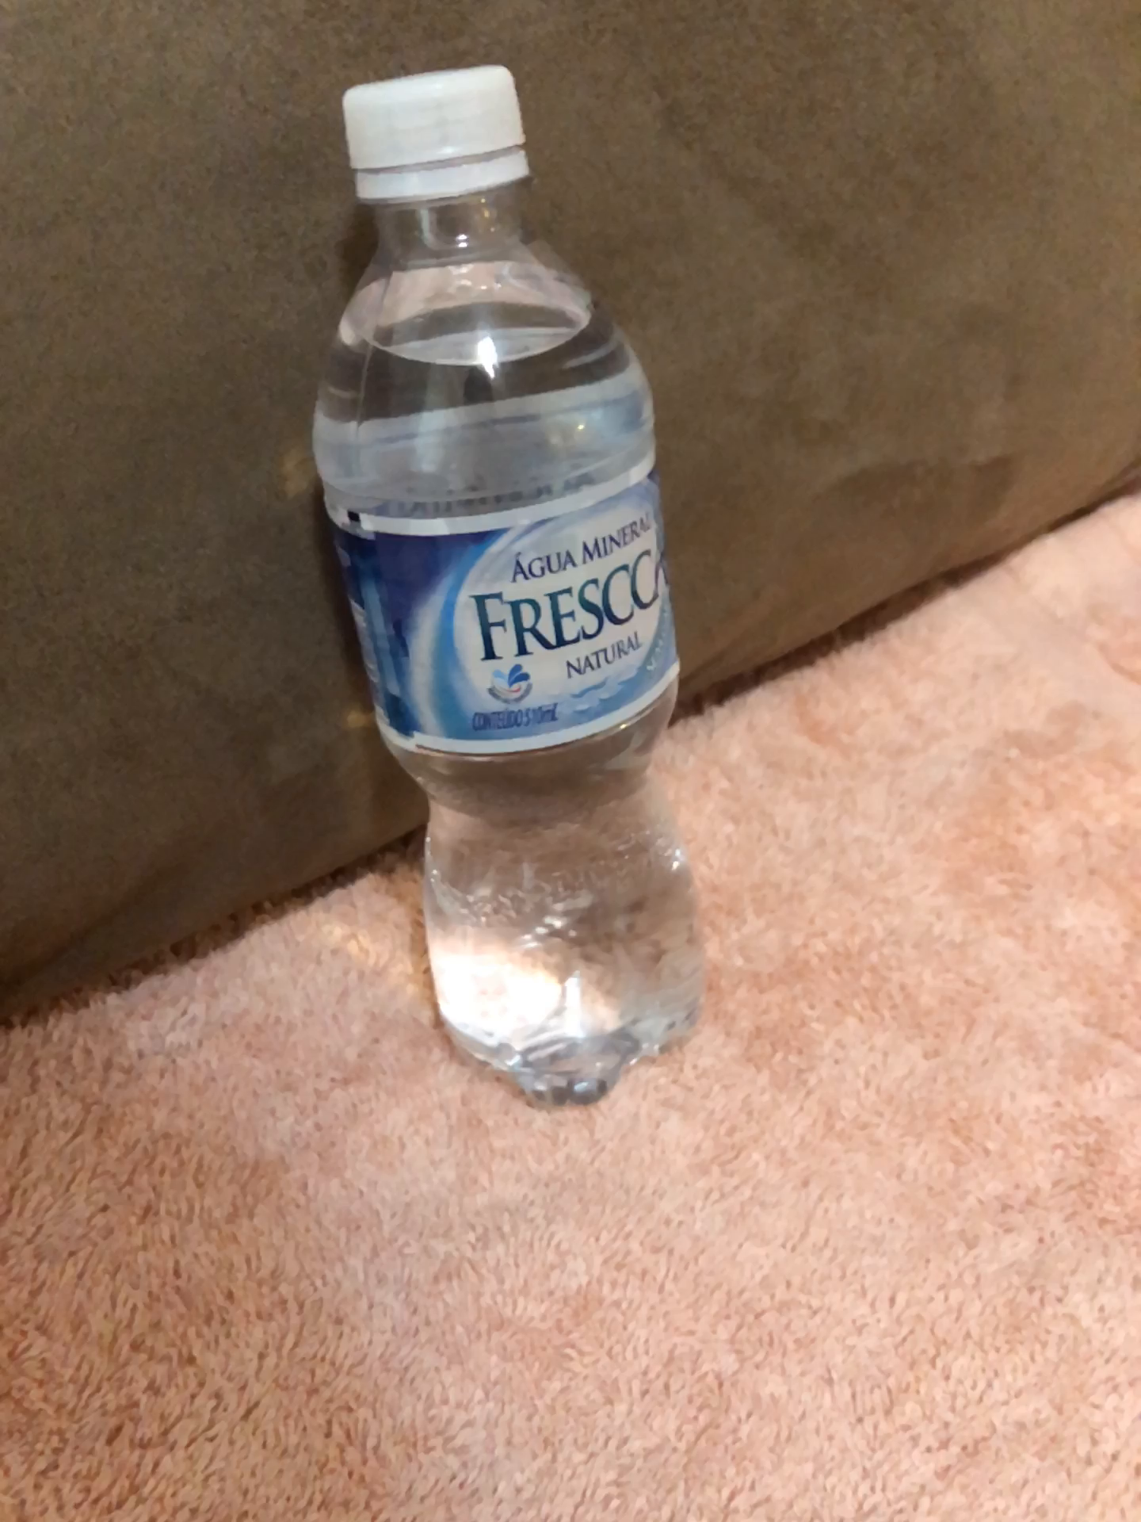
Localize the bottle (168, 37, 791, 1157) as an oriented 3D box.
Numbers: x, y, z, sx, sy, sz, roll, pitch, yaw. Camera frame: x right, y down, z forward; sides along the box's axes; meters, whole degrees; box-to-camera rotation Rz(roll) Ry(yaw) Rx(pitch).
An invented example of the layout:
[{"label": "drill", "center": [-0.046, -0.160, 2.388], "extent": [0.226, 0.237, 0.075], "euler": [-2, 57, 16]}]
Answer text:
[{"label": "bottle", "center": [-0.011, -0.029, 0.274], "extent": [0.070, 0.209, 0.080], "euler": [-23, 34, -22]}]
